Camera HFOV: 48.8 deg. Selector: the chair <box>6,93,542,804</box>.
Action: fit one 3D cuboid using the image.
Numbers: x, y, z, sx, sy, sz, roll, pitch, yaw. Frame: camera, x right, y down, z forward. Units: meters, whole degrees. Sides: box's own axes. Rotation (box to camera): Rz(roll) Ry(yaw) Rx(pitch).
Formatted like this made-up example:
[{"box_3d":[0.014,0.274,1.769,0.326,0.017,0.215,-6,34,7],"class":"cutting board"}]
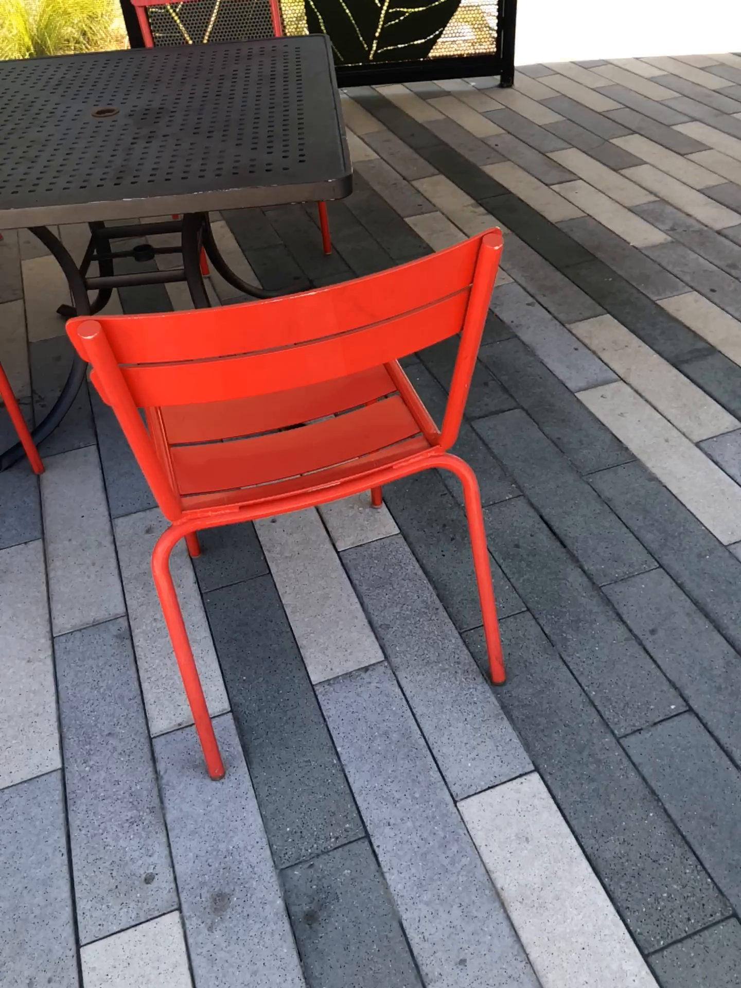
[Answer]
[{"box_3d":[-0.158,-0.072,1.455,0.610,0.955,0.633,-16,43,-12],"class":"chair"}]
